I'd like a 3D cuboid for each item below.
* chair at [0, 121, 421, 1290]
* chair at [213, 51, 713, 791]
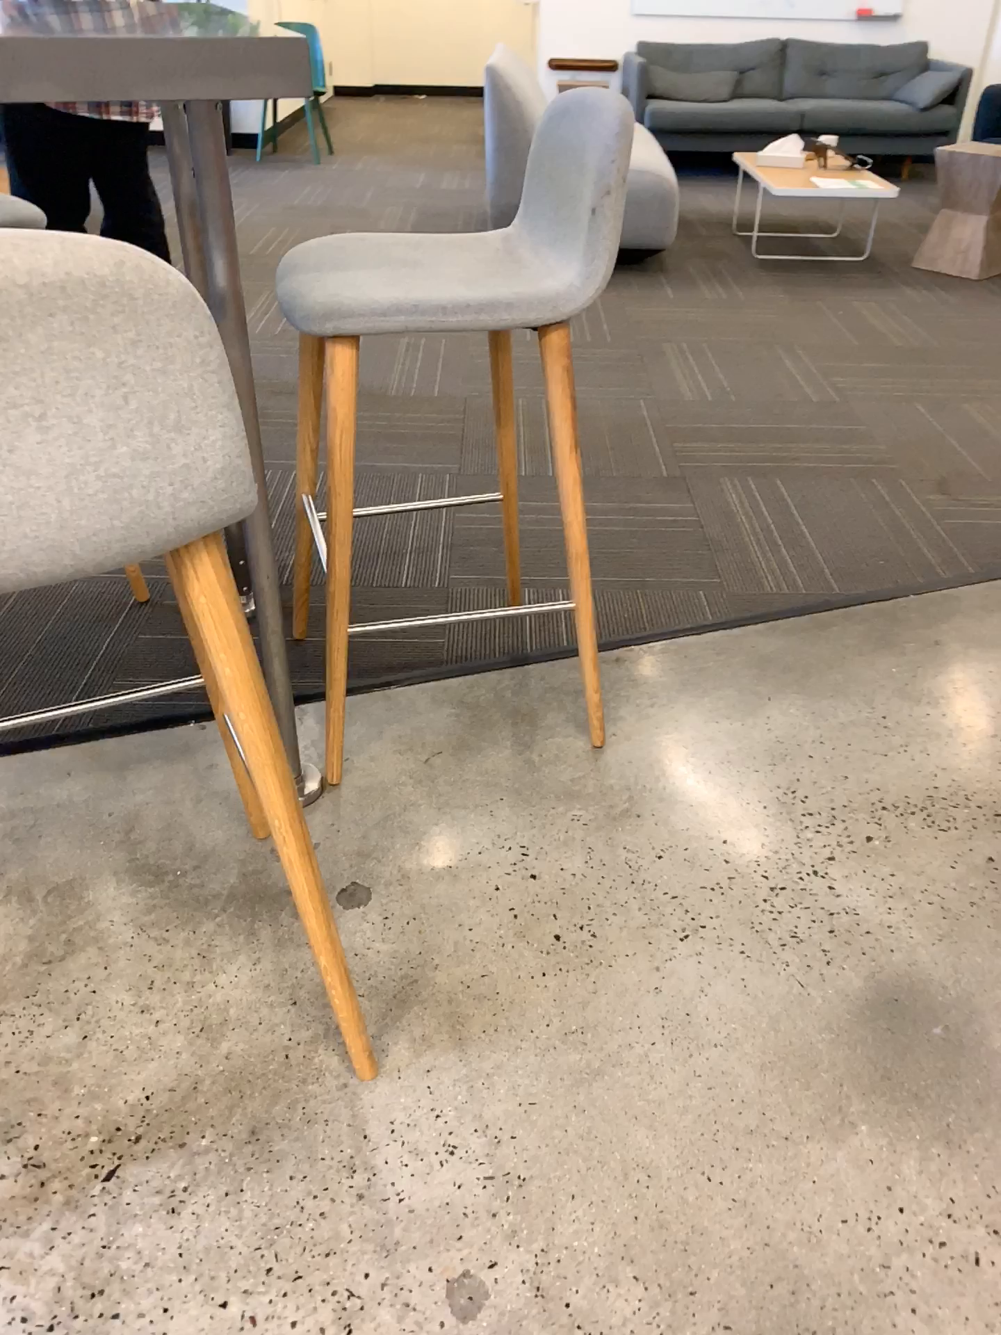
[{"bbox_3d":[-0.445,0.004,1.031,0.550,0.914,0.573,-12,36,-20],"label":"chair"},{"bbox_3d":[-0.141,-0.500,1.831,0.580,0.974,0.966,-6,35,-11],"label":"chair"}]
